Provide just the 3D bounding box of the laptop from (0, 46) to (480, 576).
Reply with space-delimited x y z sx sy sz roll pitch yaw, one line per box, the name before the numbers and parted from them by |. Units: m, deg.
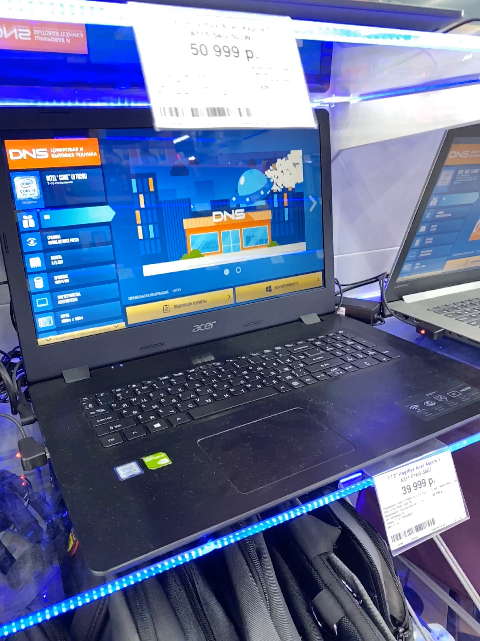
laptop | 0.016 -0.066 0.472 0.422 0.273 0.328 -11 21 -27
